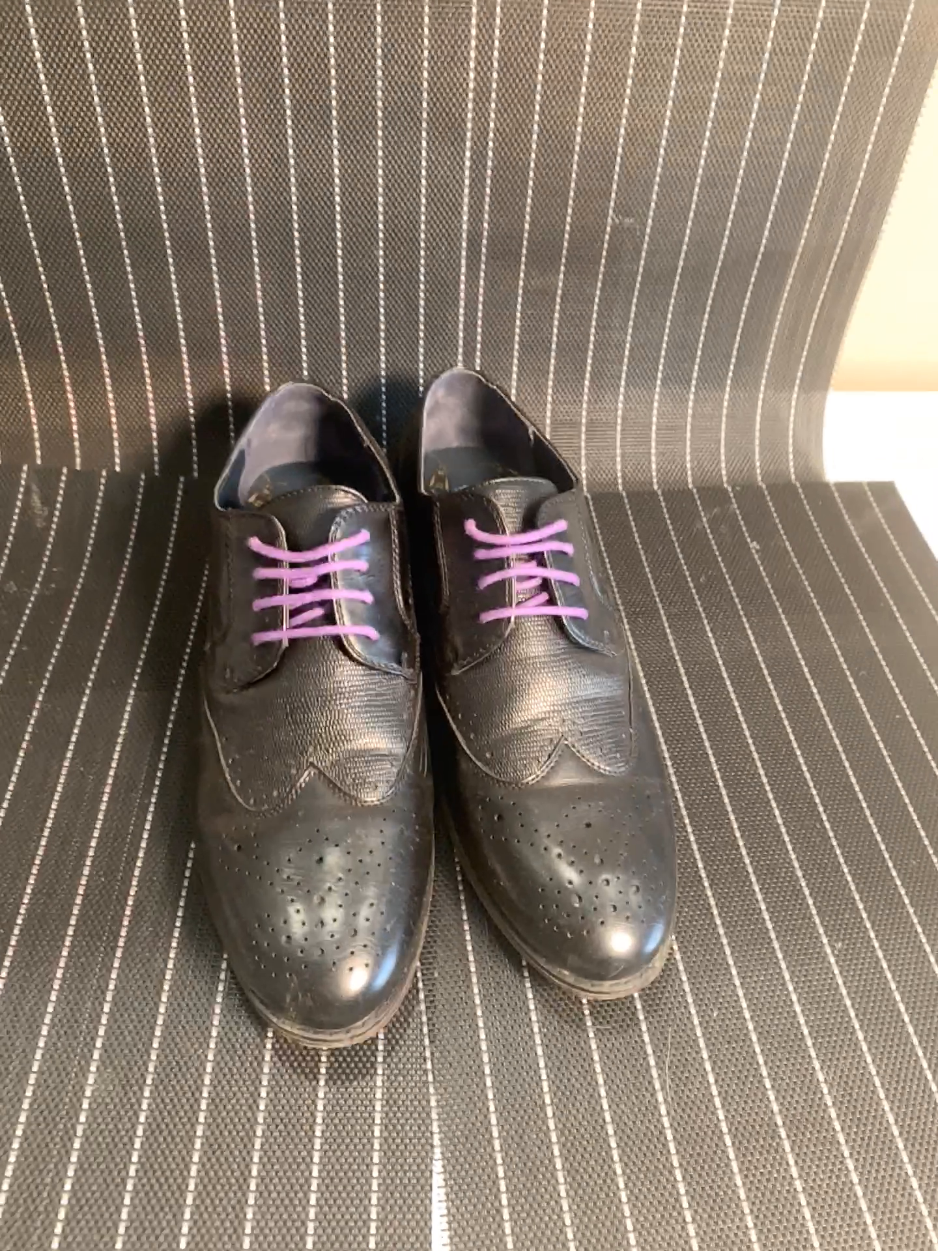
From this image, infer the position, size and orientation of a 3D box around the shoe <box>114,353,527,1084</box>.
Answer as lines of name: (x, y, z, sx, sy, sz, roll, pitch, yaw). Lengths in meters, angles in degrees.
shoe: (-0.063, 0.017, 0.416, 0.120, 0.100, 0.301, -3, 51, -7)

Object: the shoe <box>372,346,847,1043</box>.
shoe: (0.033, 0.007, 0.407, 0.110, 0.090, 0.281, -6, 52, -10)
